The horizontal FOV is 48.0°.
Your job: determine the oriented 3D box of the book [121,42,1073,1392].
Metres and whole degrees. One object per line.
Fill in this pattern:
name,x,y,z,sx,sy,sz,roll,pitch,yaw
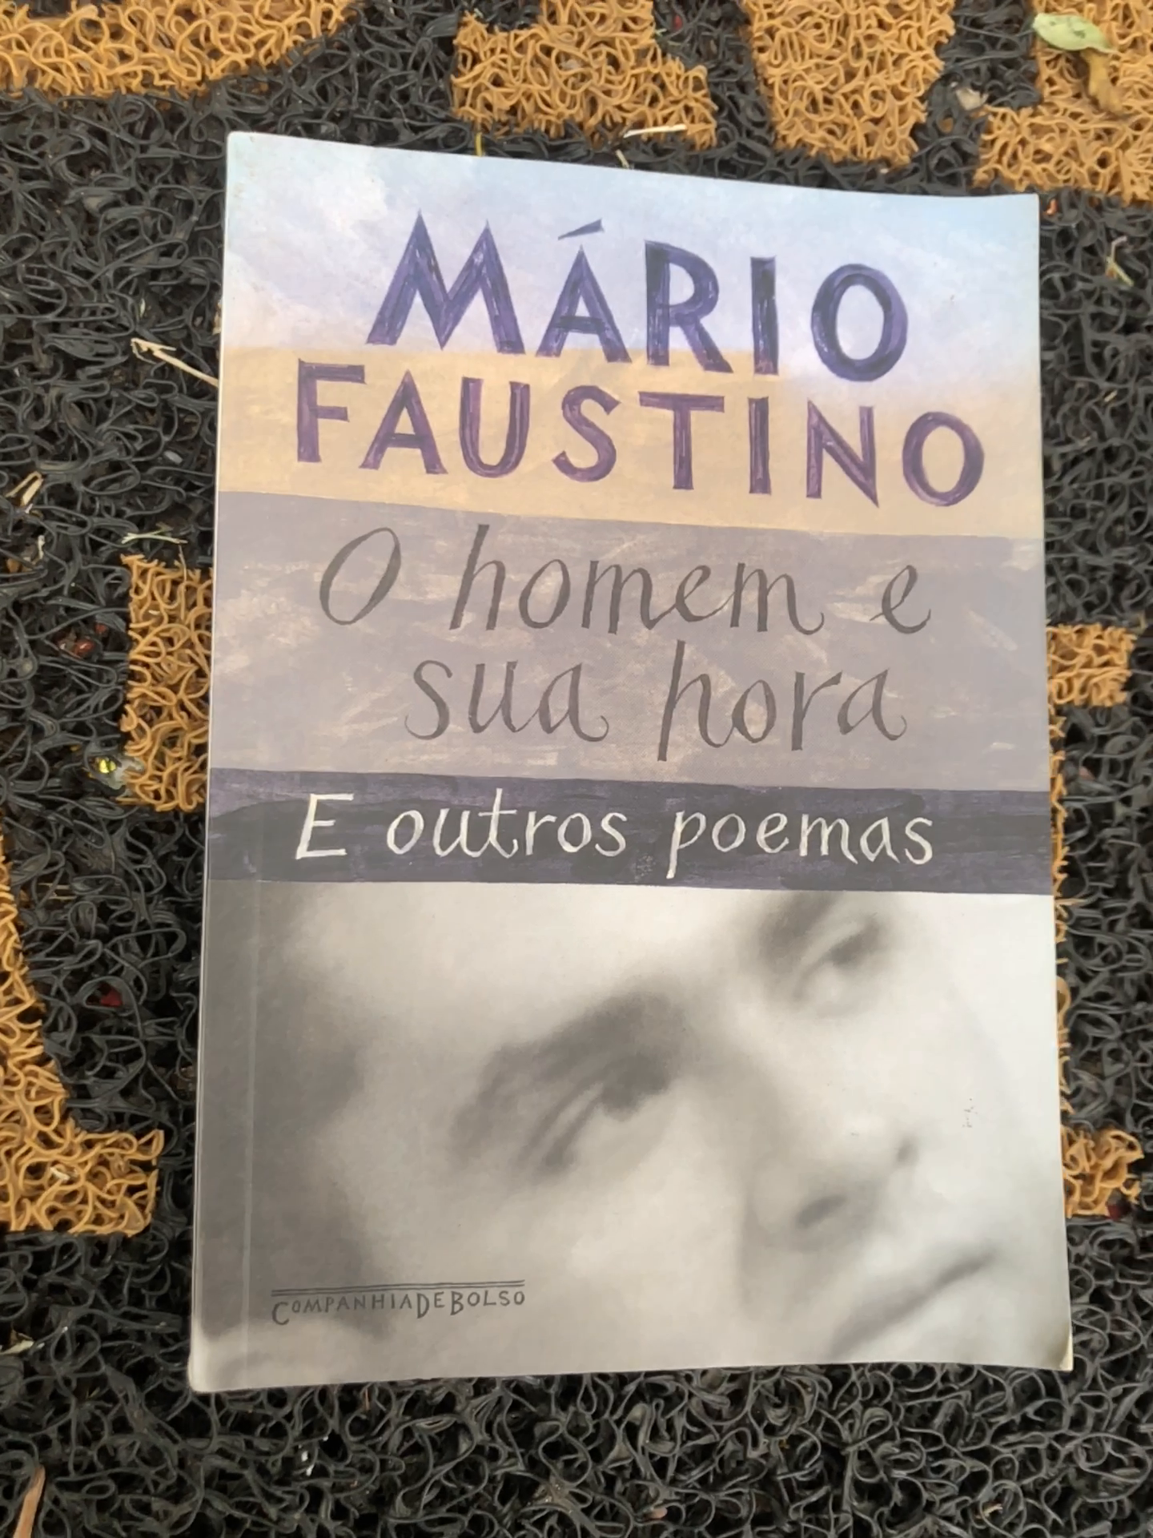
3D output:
book,0.006,-0.008,0.184,0.124,0.020,0.174,2,85,-8
